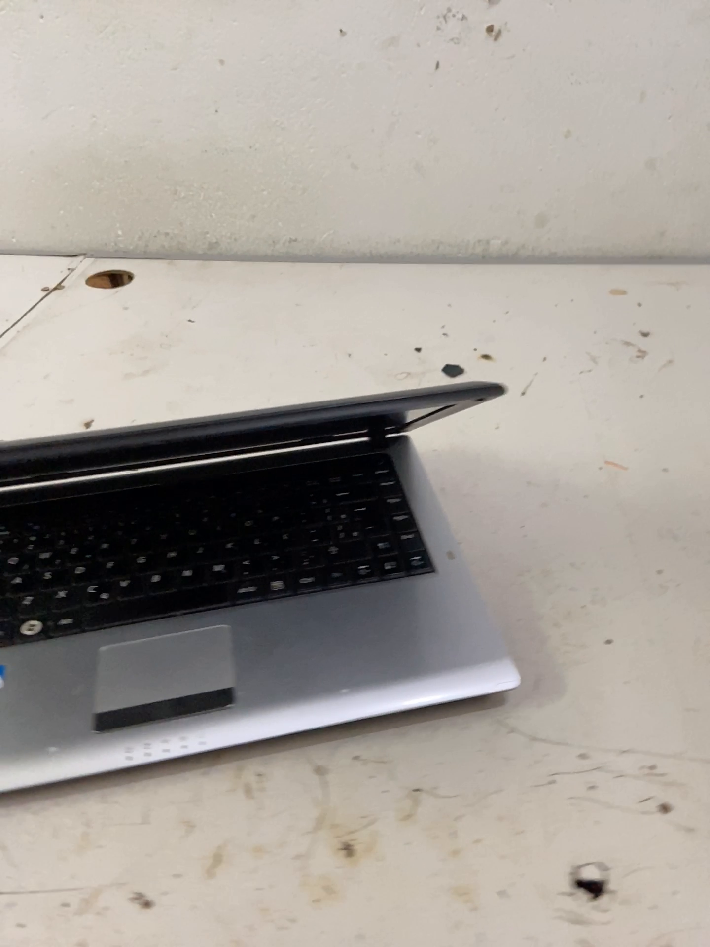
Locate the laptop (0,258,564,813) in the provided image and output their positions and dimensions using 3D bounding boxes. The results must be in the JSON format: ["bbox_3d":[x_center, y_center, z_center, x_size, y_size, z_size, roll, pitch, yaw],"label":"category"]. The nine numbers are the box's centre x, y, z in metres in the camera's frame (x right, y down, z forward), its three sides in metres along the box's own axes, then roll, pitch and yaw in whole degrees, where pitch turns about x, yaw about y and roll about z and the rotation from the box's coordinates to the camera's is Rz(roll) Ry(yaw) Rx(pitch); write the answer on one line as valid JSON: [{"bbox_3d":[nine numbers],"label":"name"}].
[{"bbox_3d":[-0.097,0.007,0.423,0.333,0.152,0.242,-8,38,-9],"label":"laptop"}]
